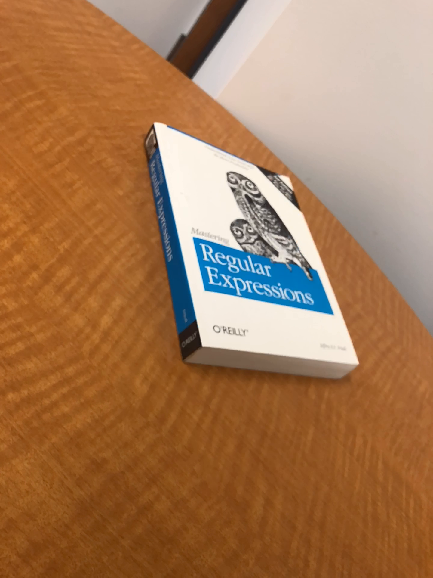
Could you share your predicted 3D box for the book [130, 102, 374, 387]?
[{"bbox_3d":[0.029,-0.041,0.466,0.201,0.040,0.261,13,50,-37],"label":"book"}]
